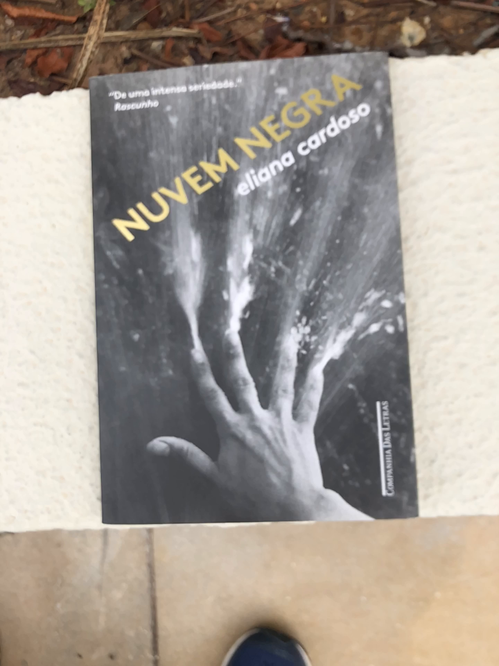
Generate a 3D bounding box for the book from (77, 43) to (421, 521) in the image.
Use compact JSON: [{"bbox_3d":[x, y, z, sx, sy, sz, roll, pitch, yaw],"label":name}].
[{"bbox_3d":[-0.002,-0.022,0.249,0.140,0.013,0.200,-2,87,2],"label":"book"}]
